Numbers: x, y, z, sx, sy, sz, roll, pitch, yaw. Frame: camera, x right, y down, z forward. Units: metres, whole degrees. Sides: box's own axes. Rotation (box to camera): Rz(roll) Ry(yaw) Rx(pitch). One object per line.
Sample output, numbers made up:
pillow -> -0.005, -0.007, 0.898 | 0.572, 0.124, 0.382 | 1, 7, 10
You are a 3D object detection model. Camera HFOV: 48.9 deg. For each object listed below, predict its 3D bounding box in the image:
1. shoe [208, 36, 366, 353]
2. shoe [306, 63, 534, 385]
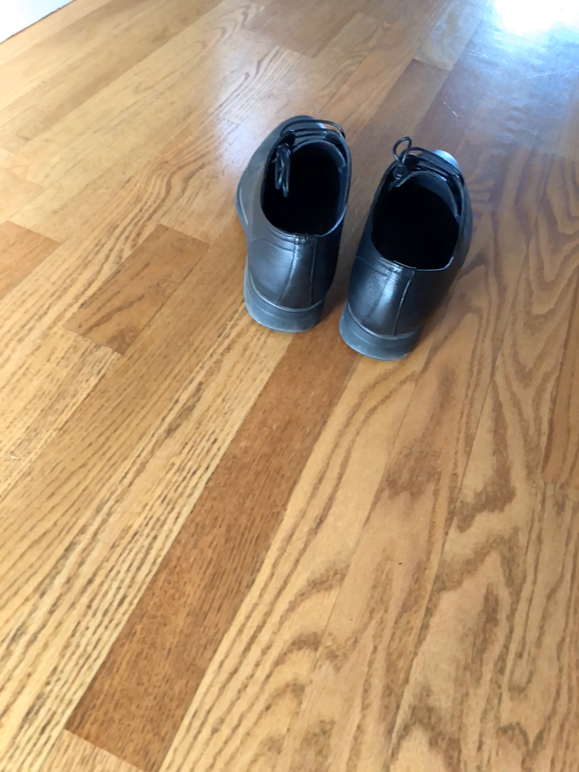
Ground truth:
shoe -> 0.004, -0.193, 0.609 | 0.110, 0.123, 0.305 | 9, 51, -4
shoe -> 0.129, -0.164, 0.594 | 0.110, 0.123, 0.300 | 22, 51, 6
